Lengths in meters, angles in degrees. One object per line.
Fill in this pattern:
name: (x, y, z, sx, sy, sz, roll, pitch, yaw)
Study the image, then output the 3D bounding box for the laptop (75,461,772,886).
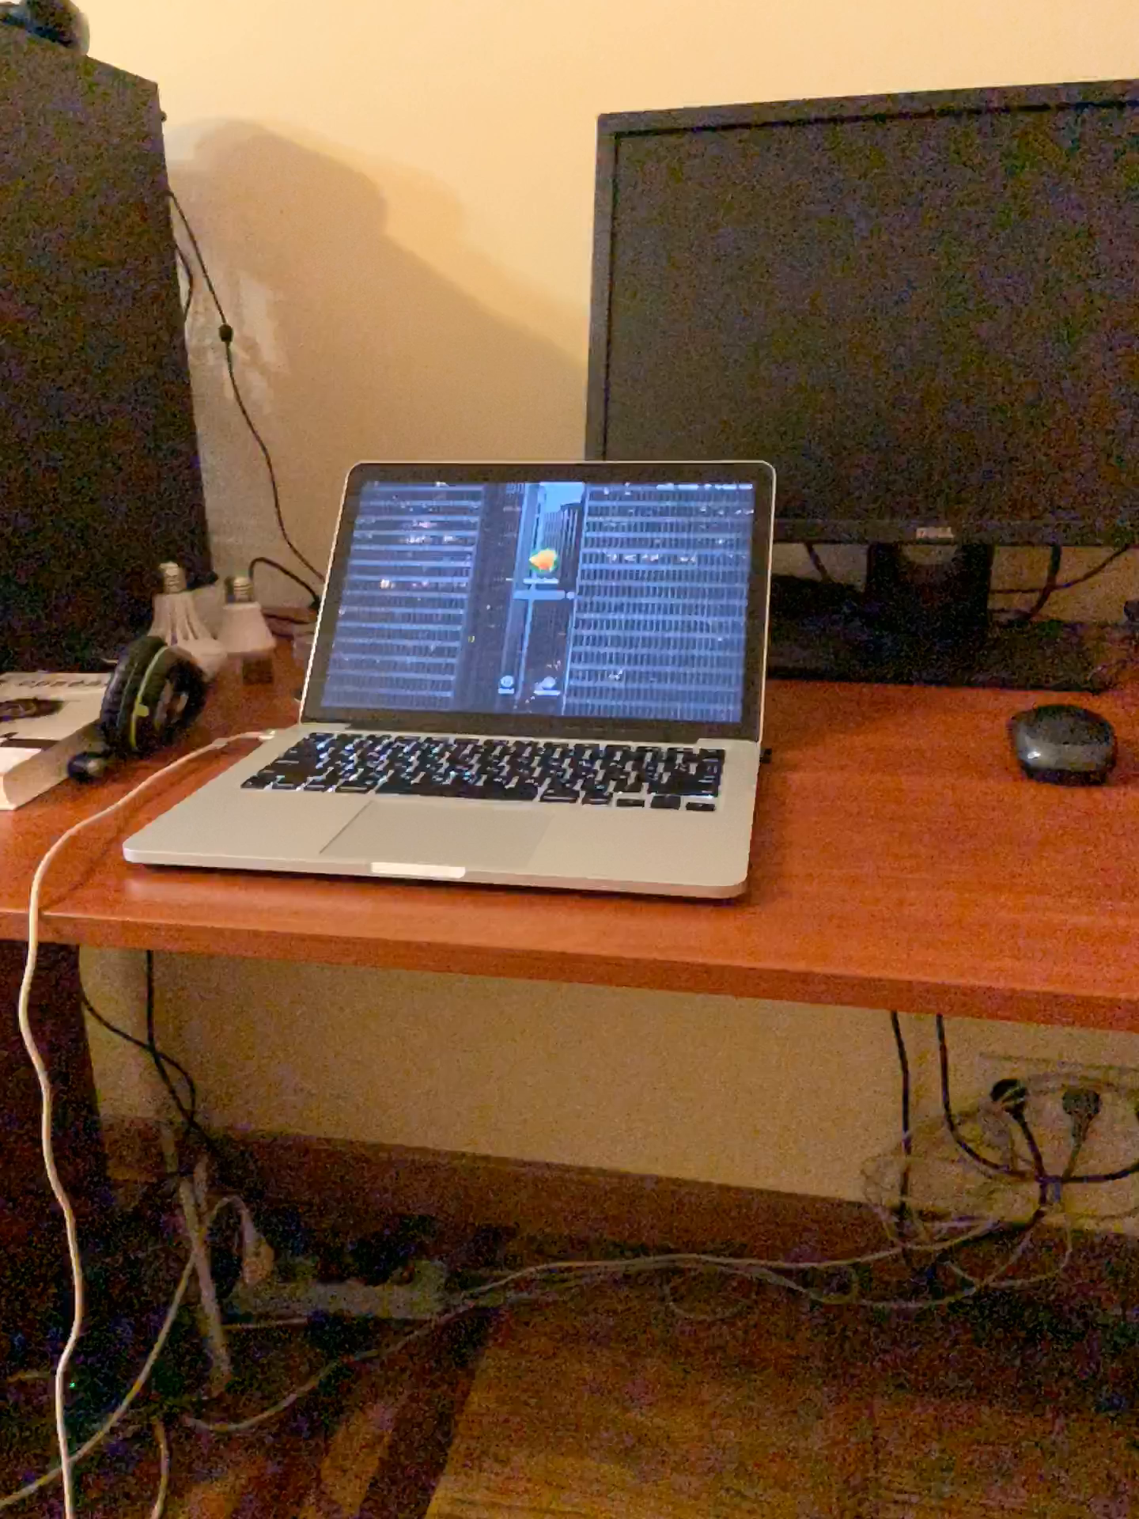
laptop: (-0.041, -0.079, 0.681, 0.300, 0.155, 0.342, 3, 19, 10)
